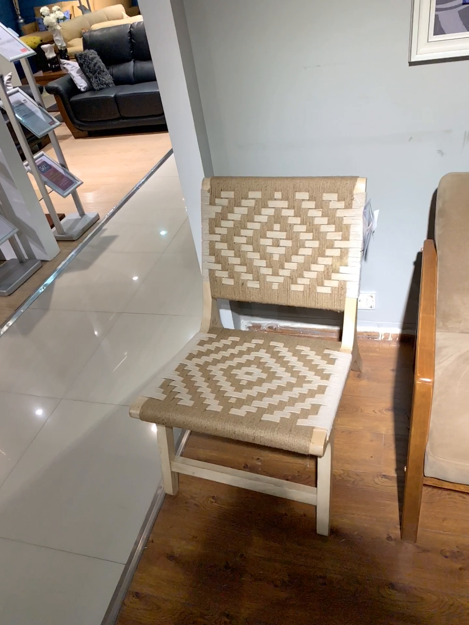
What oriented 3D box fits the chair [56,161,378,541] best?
[{"bbox_3d":[0.062,0.085,1.454,0.631,0.846,0.662,5,39,21],"label":"chair"}]
